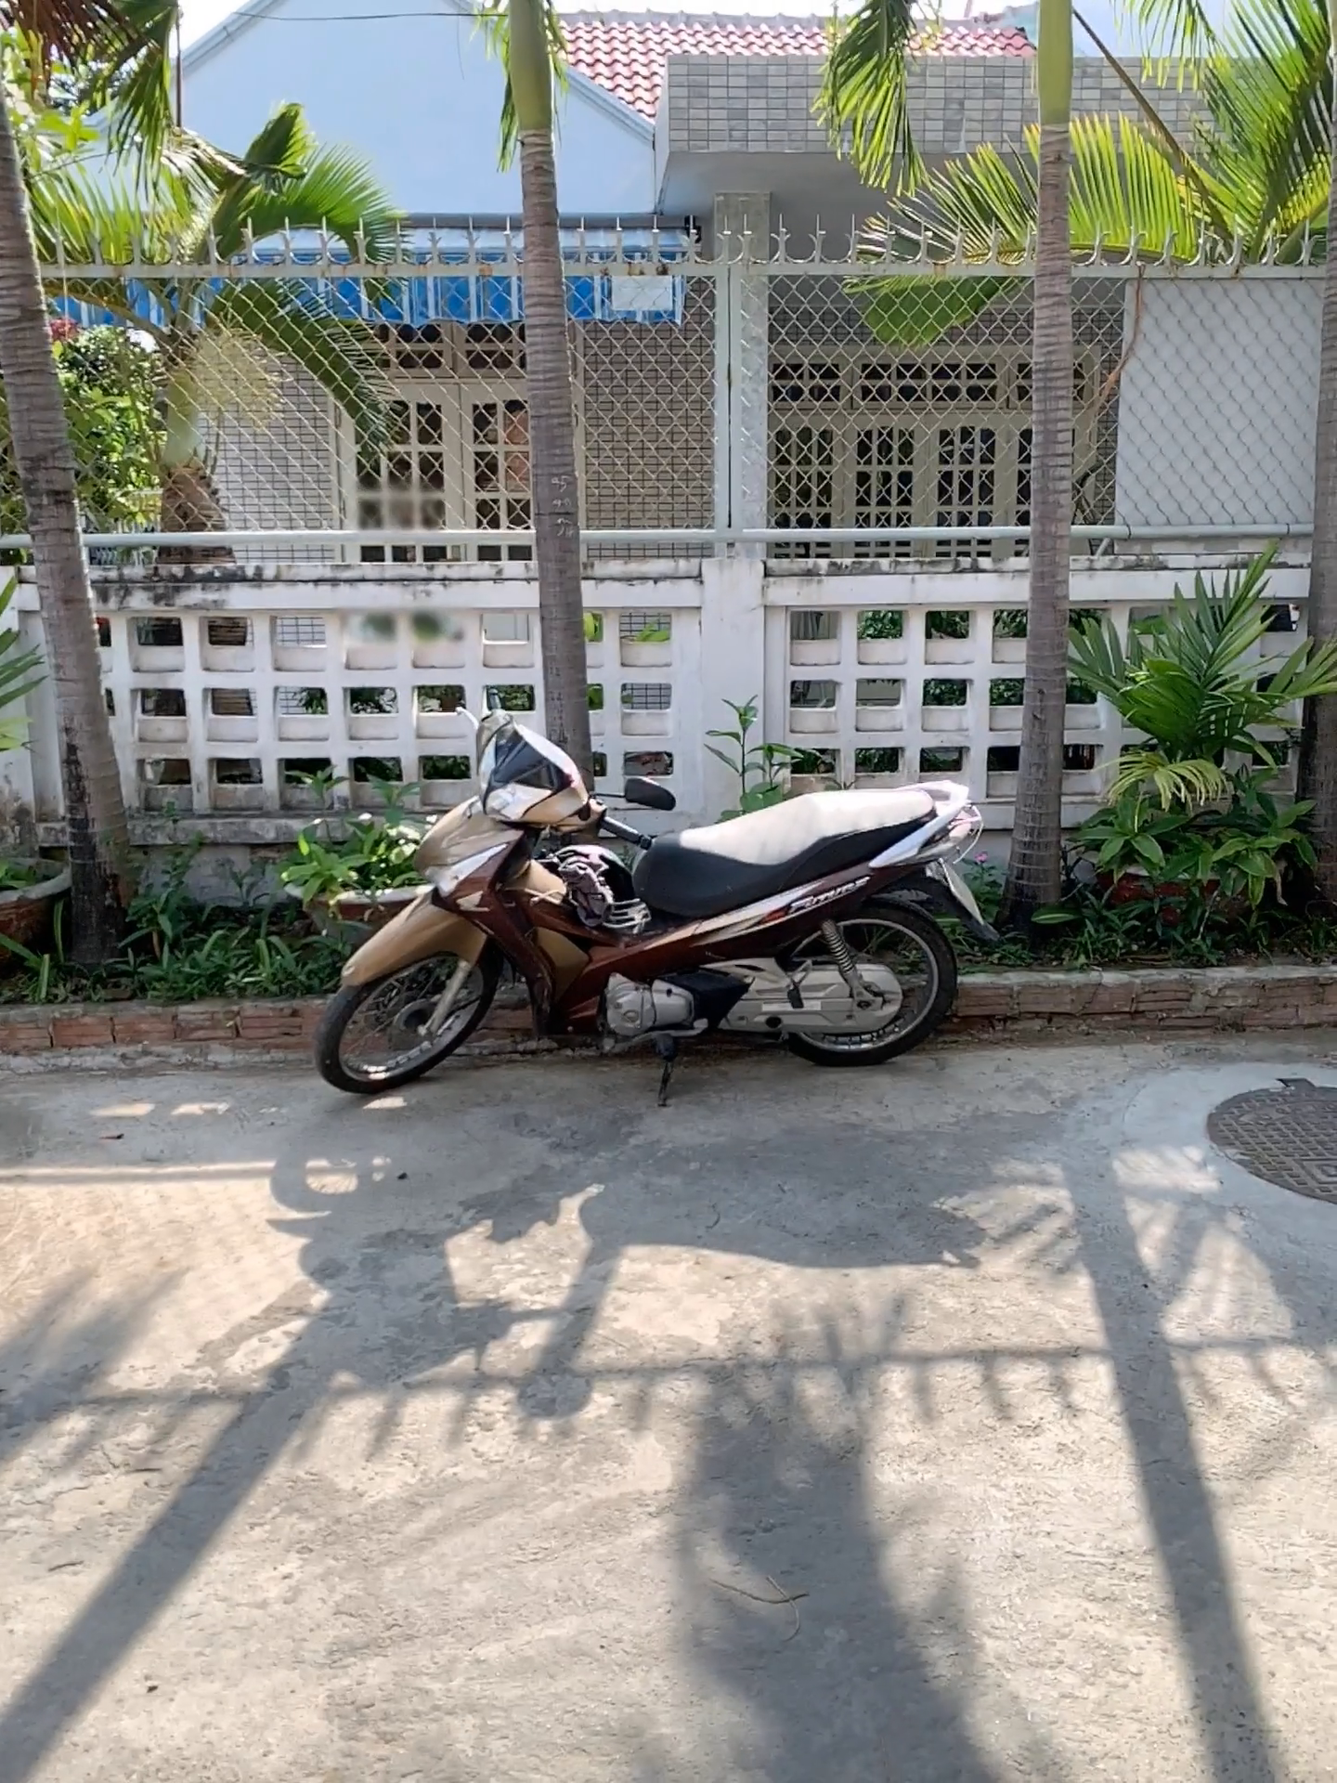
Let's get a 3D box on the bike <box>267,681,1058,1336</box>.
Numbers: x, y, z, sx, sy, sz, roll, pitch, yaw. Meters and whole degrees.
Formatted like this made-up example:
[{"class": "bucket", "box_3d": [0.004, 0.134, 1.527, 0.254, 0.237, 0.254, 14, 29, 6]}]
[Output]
[{"class": "bike", "box_3d": [0.026, 0.211, 3.687, 1.974, 1.444, 0.614, -4, 12, -16]}]
